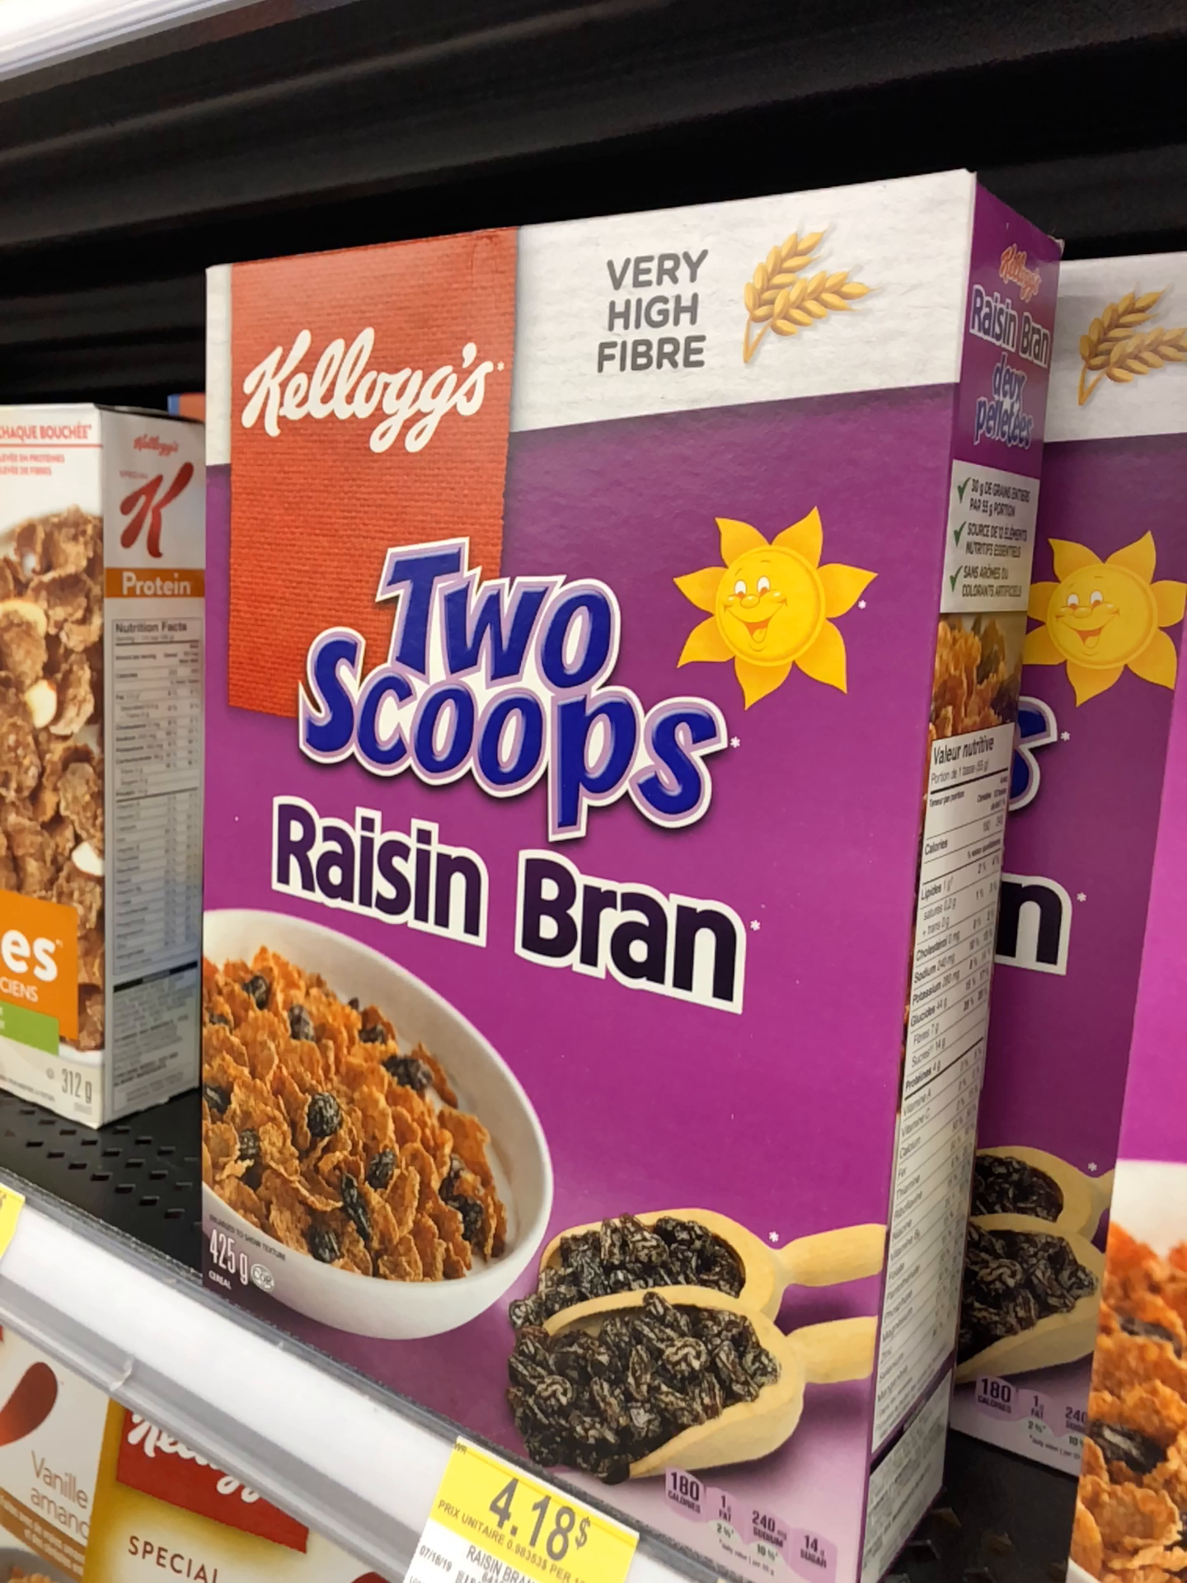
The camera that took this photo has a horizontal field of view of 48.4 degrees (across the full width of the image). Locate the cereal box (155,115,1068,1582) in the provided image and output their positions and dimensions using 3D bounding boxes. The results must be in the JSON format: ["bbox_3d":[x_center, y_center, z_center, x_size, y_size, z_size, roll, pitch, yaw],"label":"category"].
[{"bbox_3d":[-0.014,0.011,0.303,0.200,0.269,0.050,9,12,34],"label":"cereal box"}]
